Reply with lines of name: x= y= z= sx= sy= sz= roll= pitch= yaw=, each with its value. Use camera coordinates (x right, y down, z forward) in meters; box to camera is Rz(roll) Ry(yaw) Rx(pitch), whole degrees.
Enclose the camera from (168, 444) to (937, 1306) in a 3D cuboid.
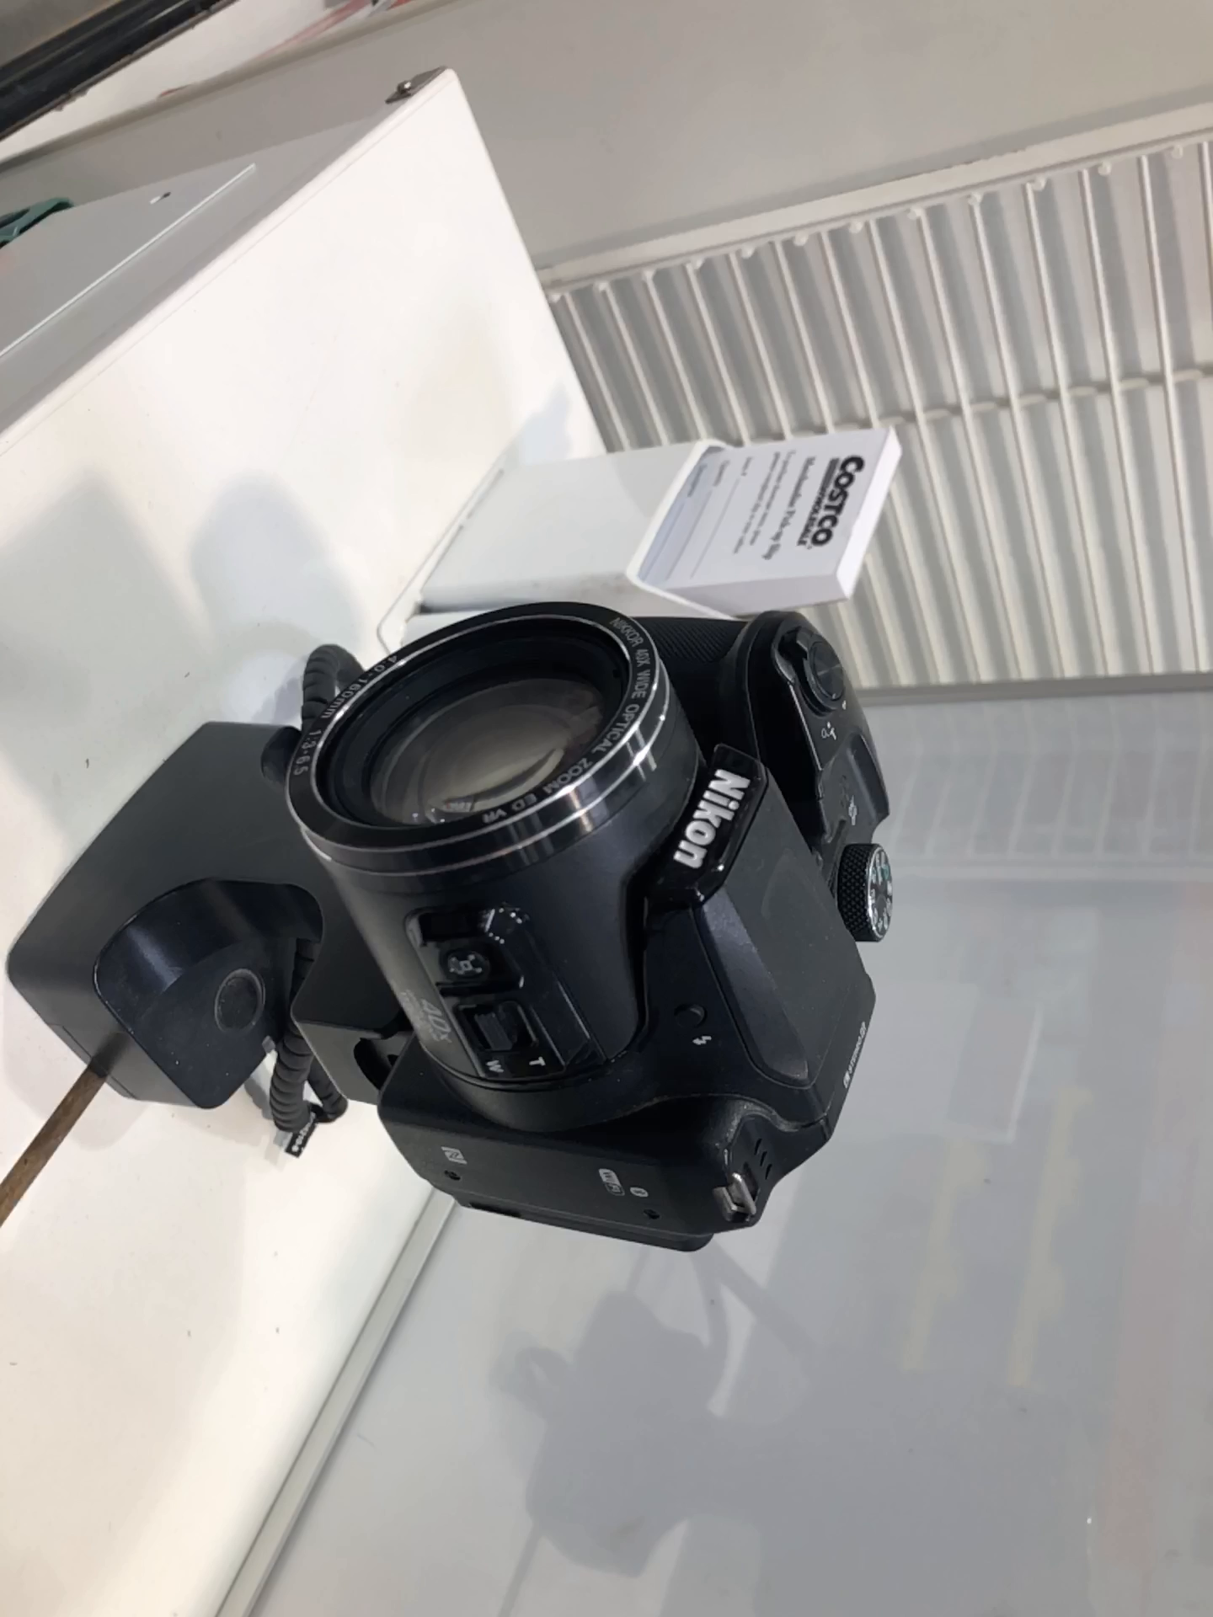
camera: x=0.003 y=0.011 z=0.259 sx=0.101 sy=0.079 sz=0.116 roll=64 pitch=38 yaw=-39
